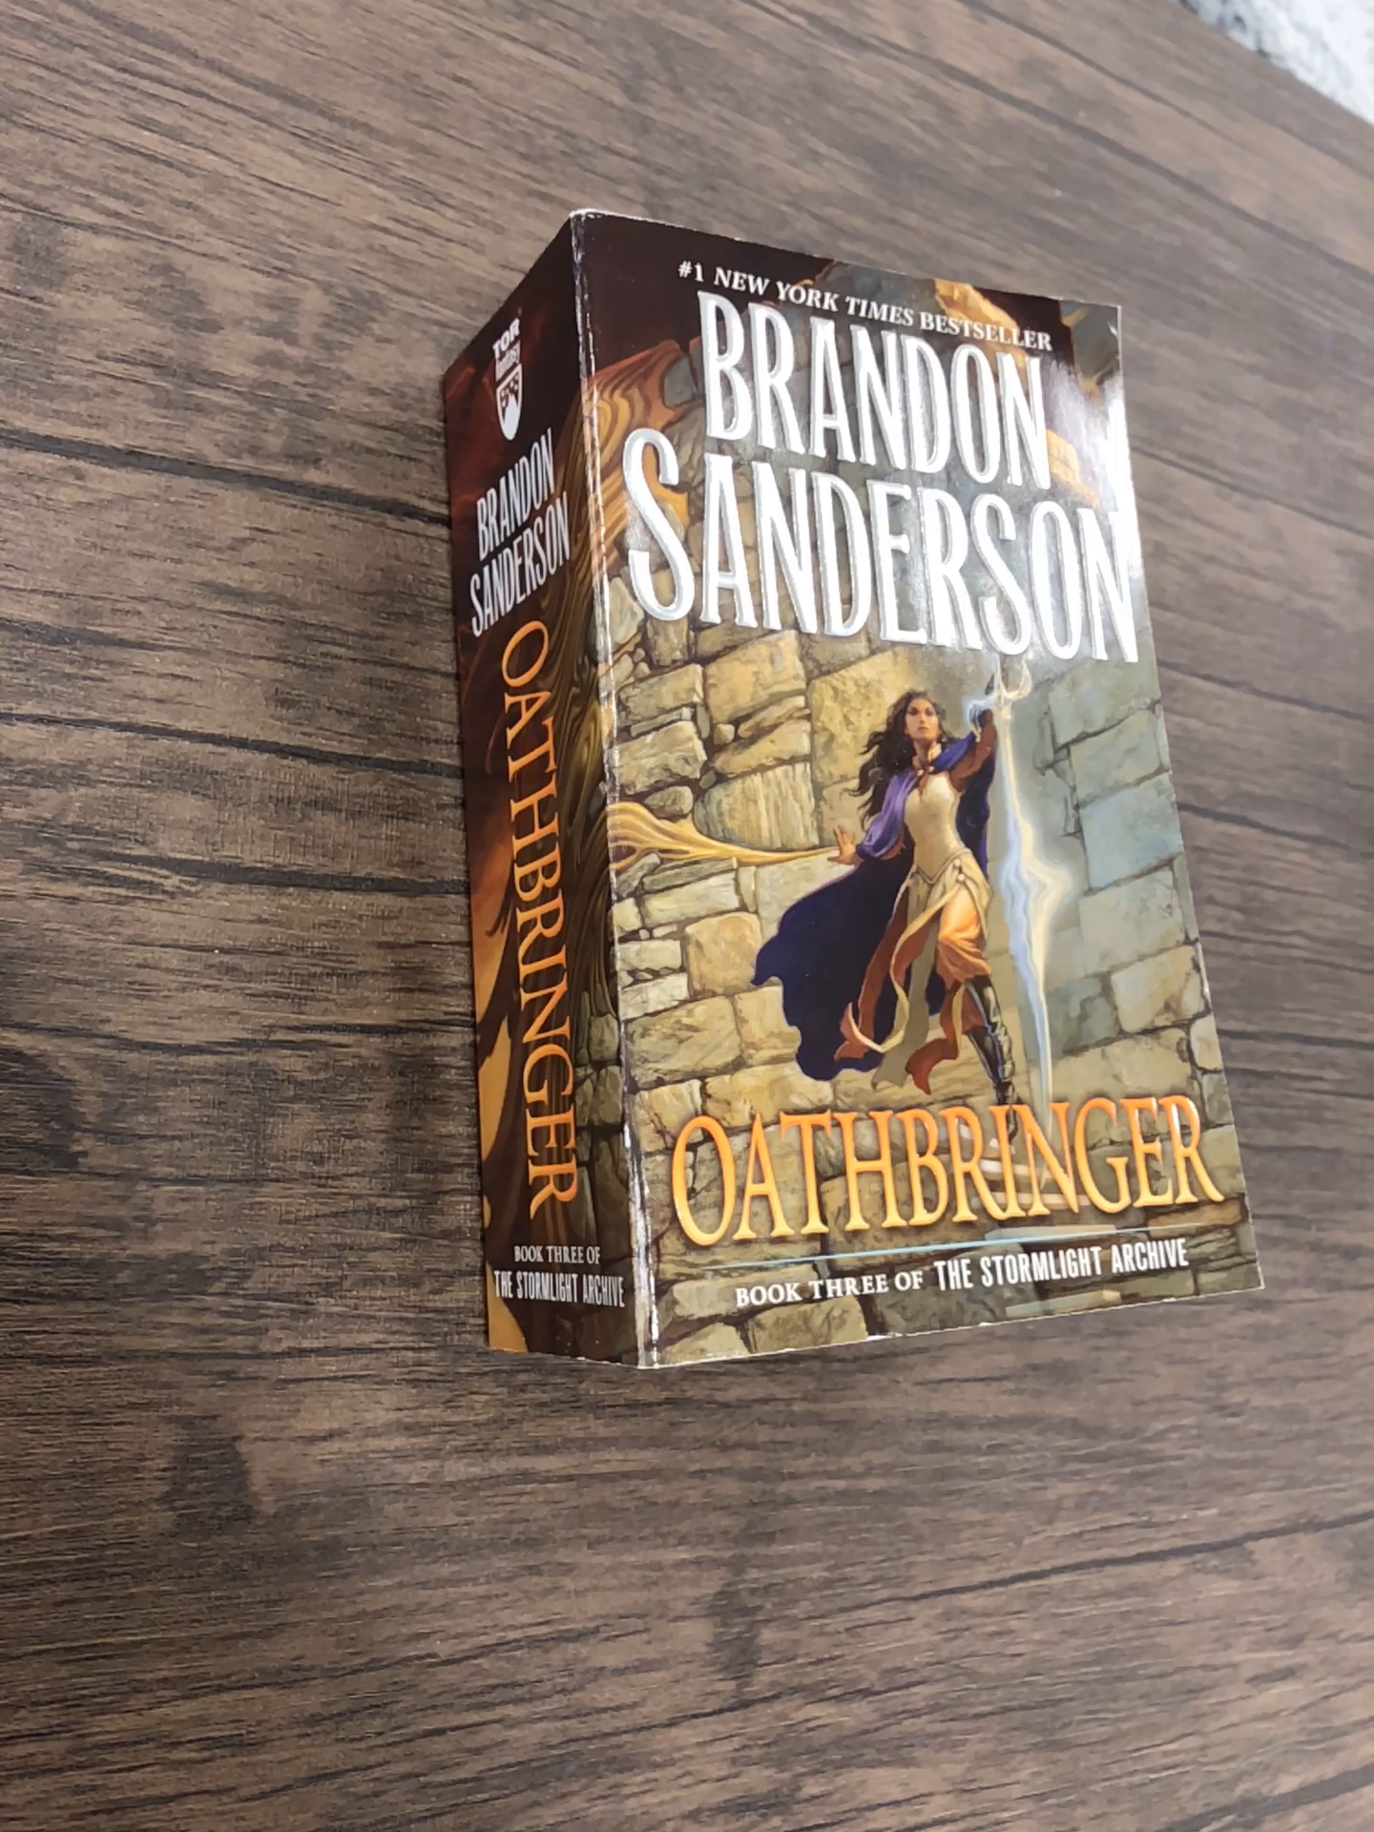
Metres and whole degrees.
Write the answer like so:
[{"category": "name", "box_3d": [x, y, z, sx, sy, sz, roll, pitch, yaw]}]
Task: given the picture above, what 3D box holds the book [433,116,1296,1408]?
[{"category": "book", "box_3d": [0.026, -0.018, 0.245, 0.111, 0.058, 0.167, 2, 78, -32]}]
